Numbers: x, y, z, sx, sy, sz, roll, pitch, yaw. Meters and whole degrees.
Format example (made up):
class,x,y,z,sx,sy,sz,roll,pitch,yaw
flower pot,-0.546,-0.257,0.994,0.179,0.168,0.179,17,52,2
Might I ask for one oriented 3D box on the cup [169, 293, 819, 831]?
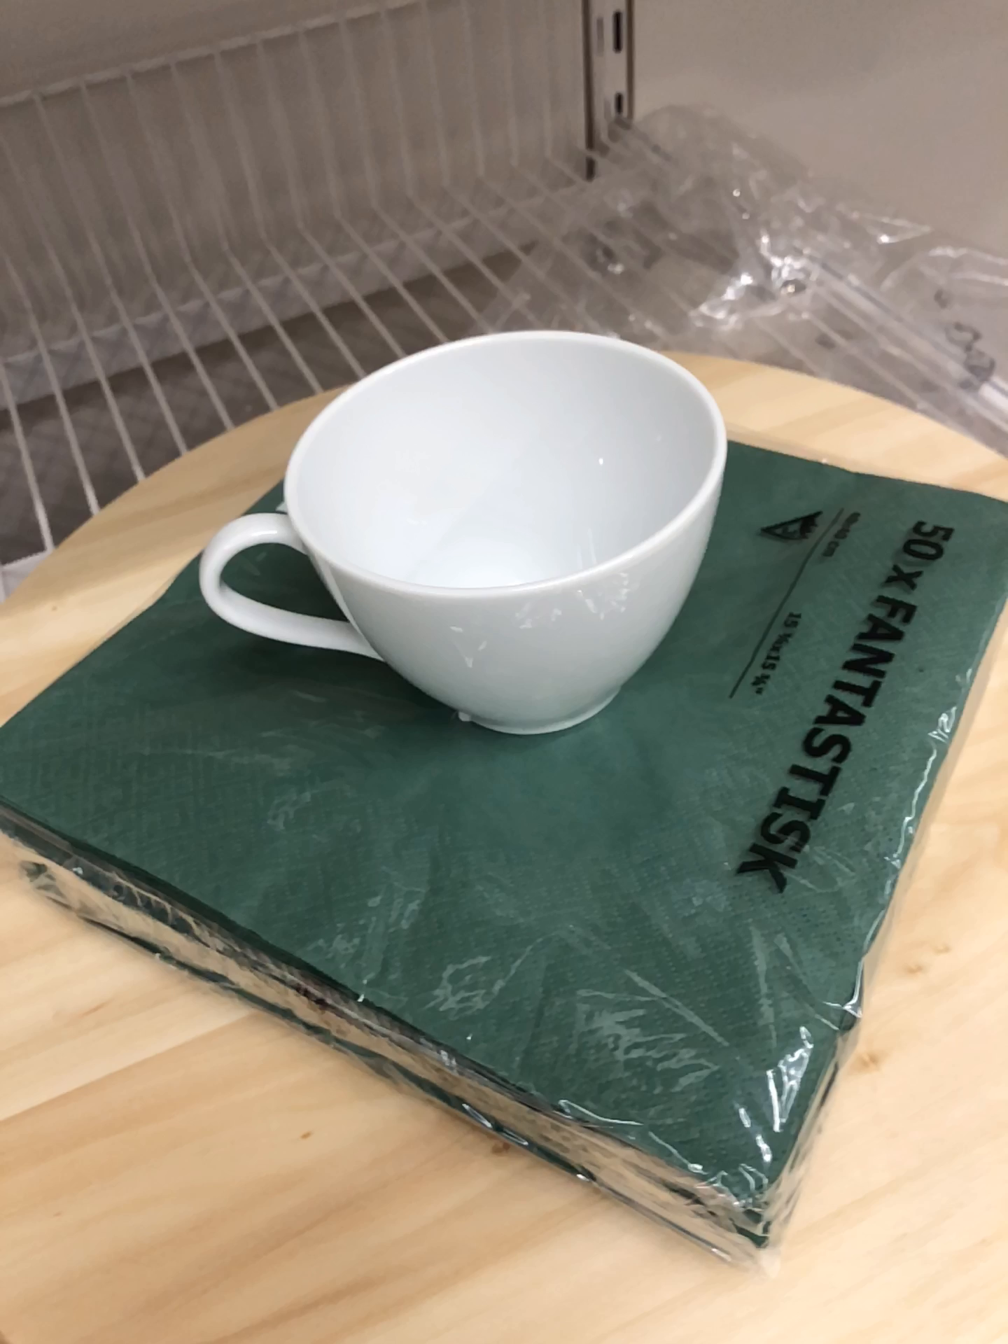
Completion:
class,x,y,z,sx,sy,sz,roll,pitch,yaw
cup,-0.007,-0.030,0.257,0.120,0.050,0.090,-14,47,-6
